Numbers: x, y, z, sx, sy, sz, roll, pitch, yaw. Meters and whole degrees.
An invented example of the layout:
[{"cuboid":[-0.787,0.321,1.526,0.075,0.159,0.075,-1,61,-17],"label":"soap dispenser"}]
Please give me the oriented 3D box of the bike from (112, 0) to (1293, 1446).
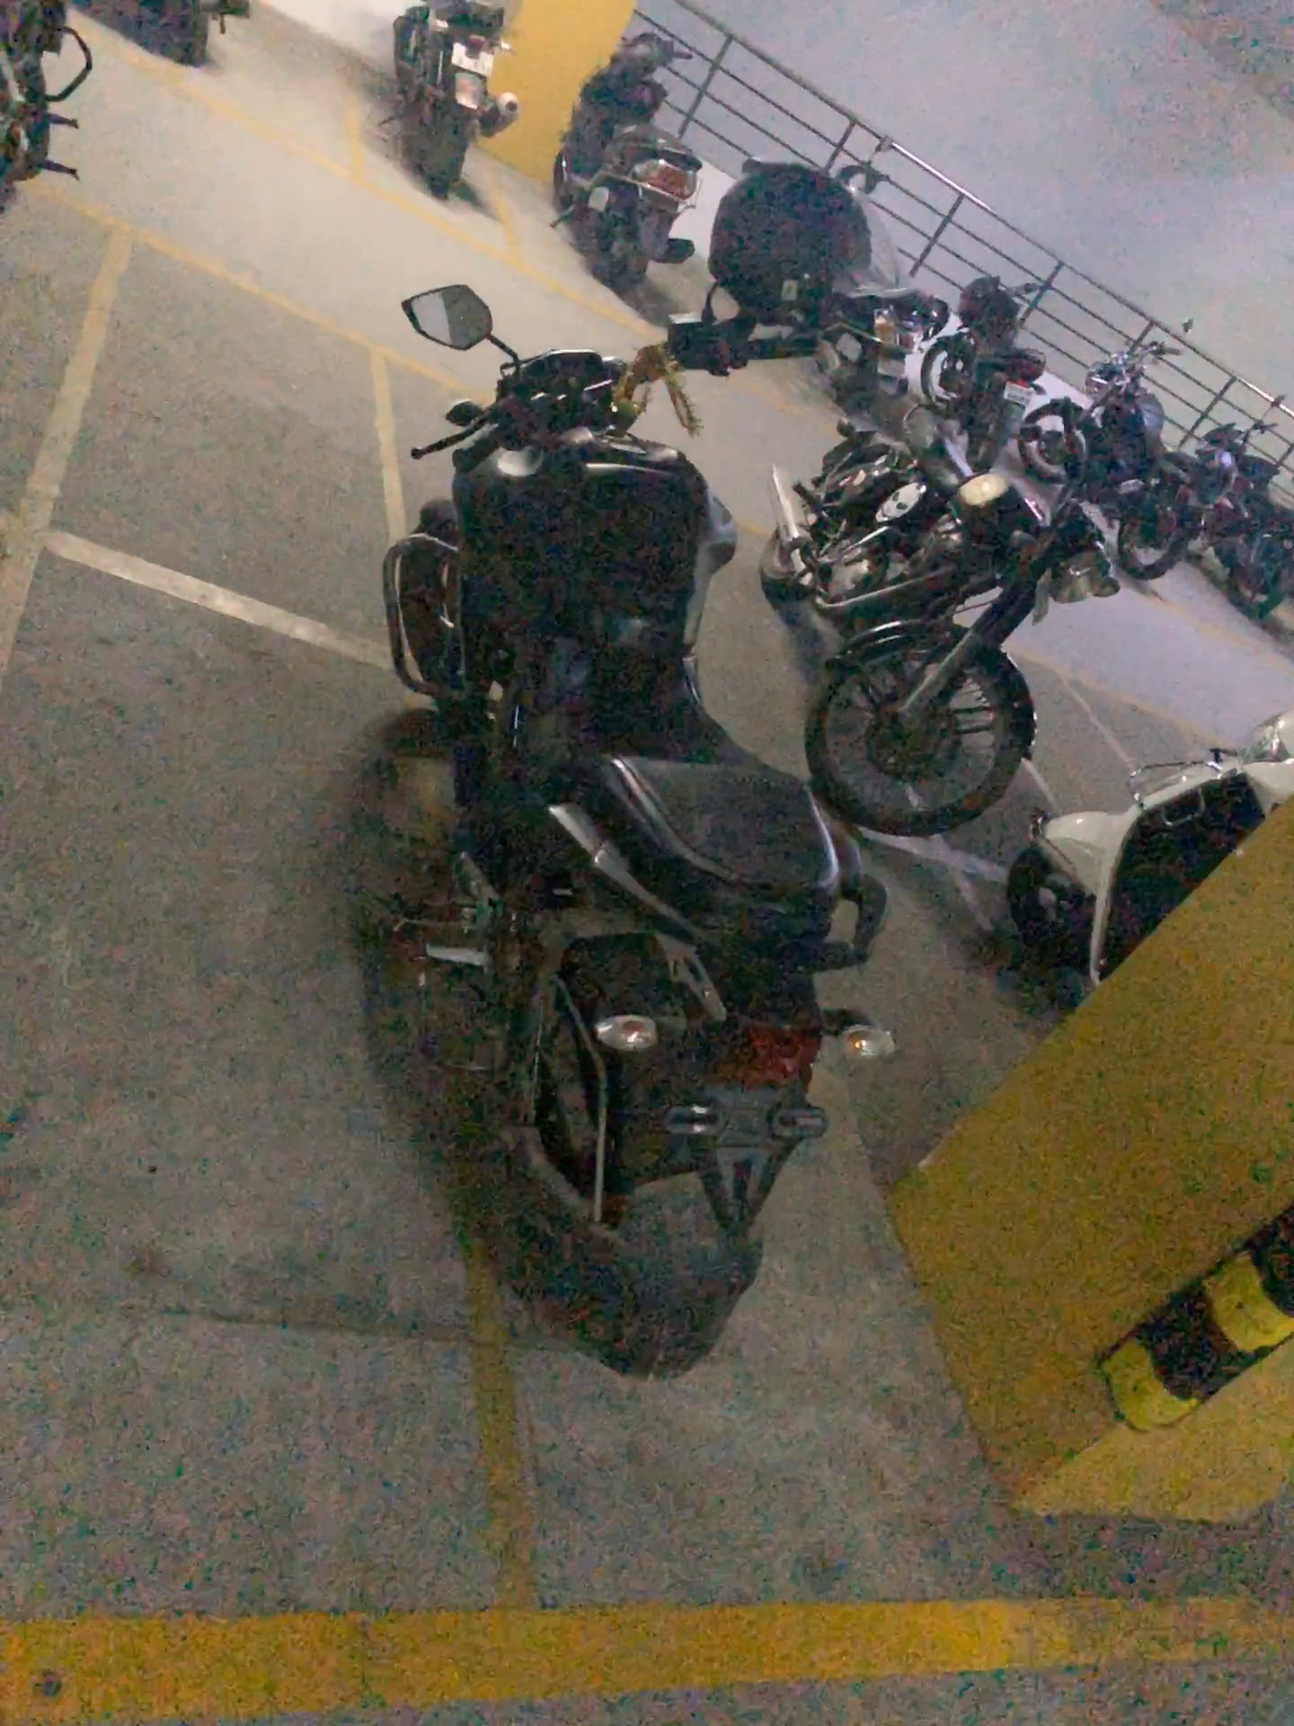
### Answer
[{"cuboid":[-0.160,-0.304,1.911,0.788,1.096,1.739,11,41,-35],"label":"bike"}]
